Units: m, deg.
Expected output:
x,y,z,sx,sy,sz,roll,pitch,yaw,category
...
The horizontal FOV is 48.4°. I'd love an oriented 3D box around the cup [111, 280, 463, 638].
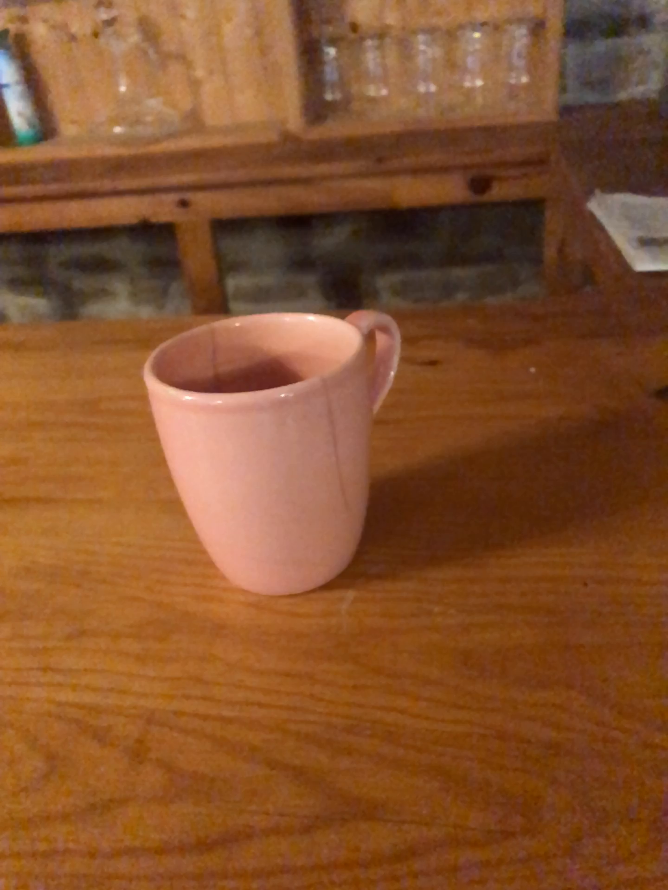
x,y,z,sx,sy,sz,roll,pitch,yaw,category
-0.010,-0.005,0.326,0.090,0.095,0.122,13,34,31,cup
